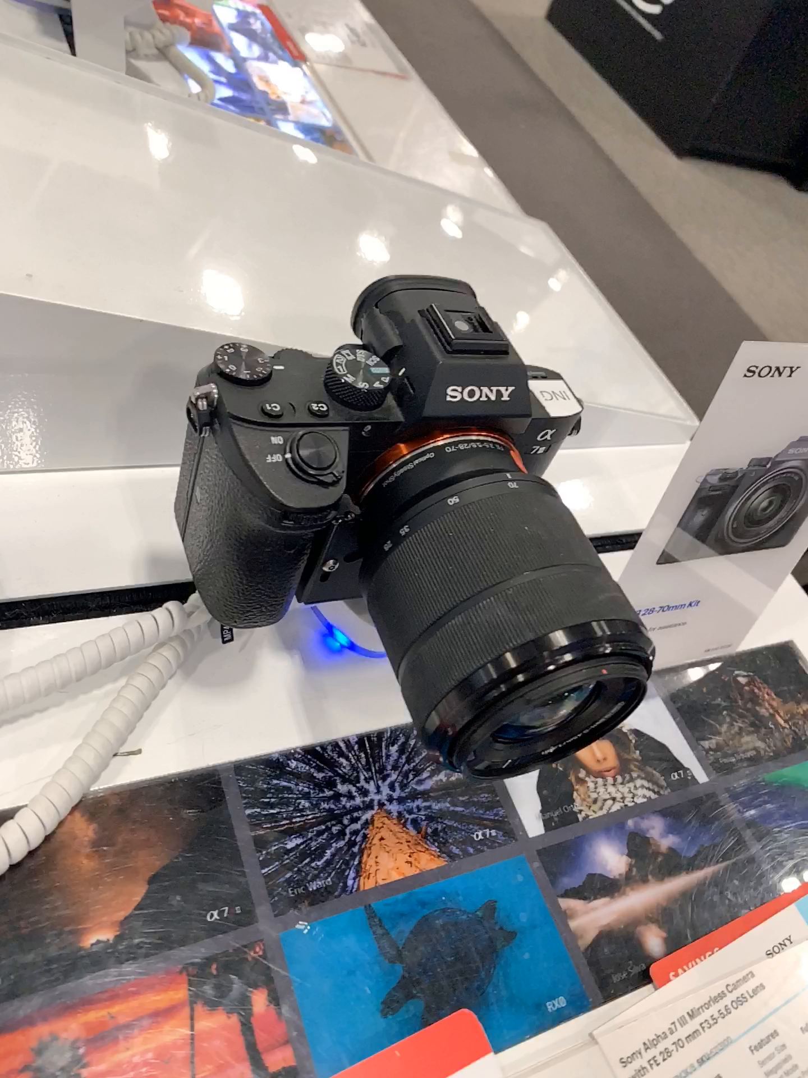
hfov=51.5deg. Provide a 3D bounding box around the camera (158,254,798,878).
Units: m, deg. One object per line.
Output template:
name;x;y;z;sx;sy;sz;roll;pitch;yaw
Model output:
camera;0.007;0.000;0.258;0.119;0.100;0.140;-9;56;-30
